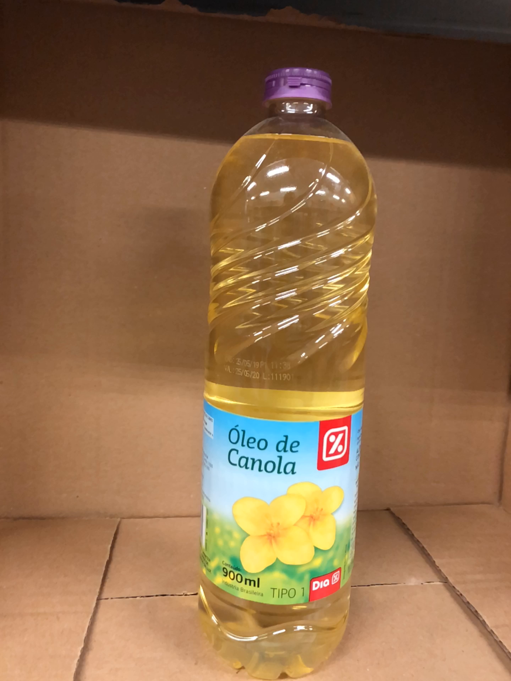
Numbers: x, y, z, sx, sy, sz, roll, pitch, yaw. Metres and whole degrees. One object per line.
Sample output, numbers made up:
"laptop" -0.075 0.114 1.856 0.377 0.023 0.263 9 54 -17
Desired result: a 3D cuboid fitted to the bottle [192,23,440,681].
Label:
"bottle" 0.017 0.017 0.253 0.080 0.269 0.050 2 11 -8
